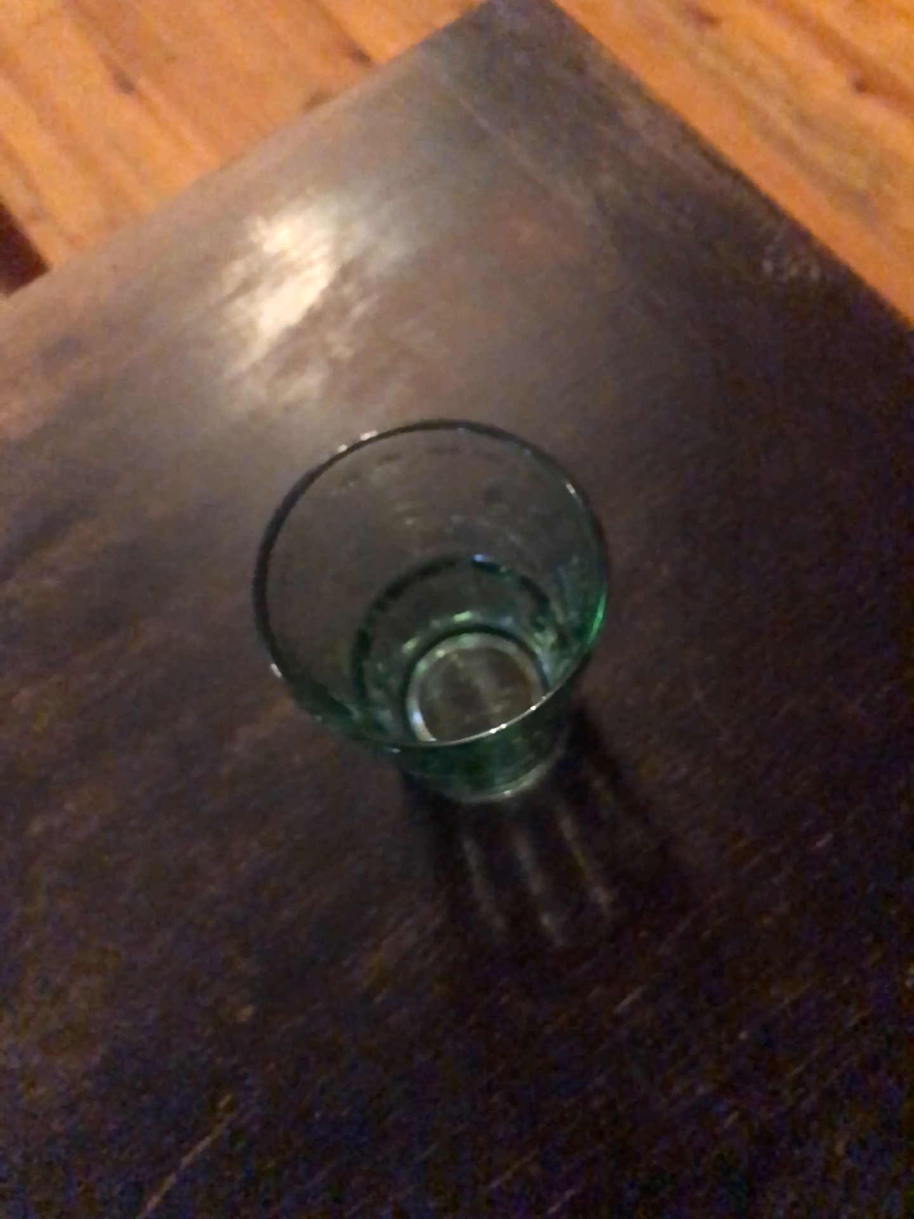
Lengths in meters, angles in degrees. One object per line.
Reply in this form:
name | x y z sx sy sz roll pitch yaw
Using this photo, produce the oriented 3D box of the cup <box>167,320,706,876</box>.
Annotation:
cup | -0.001 0.004 0.279 0.089 0.103 0.083 -2 69 5
